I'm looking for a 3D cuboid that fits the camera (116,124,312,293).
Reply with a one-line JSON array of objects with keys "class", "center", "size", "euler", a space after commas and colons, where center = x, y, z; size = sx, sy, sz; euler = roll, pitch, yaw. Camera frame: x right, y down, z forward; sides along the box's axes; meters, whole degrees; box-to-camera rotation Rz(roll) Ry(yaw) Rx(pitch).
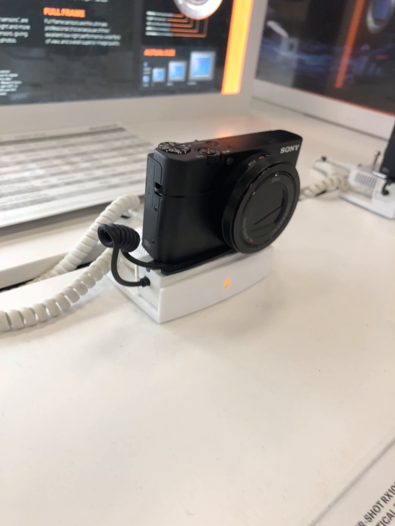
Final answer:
[{"class": "camera", "center": [0.011, -0.035, 0.255], "size": [0.110, 0.070, 0.030], "euler": [-21, 46, -39]}]
